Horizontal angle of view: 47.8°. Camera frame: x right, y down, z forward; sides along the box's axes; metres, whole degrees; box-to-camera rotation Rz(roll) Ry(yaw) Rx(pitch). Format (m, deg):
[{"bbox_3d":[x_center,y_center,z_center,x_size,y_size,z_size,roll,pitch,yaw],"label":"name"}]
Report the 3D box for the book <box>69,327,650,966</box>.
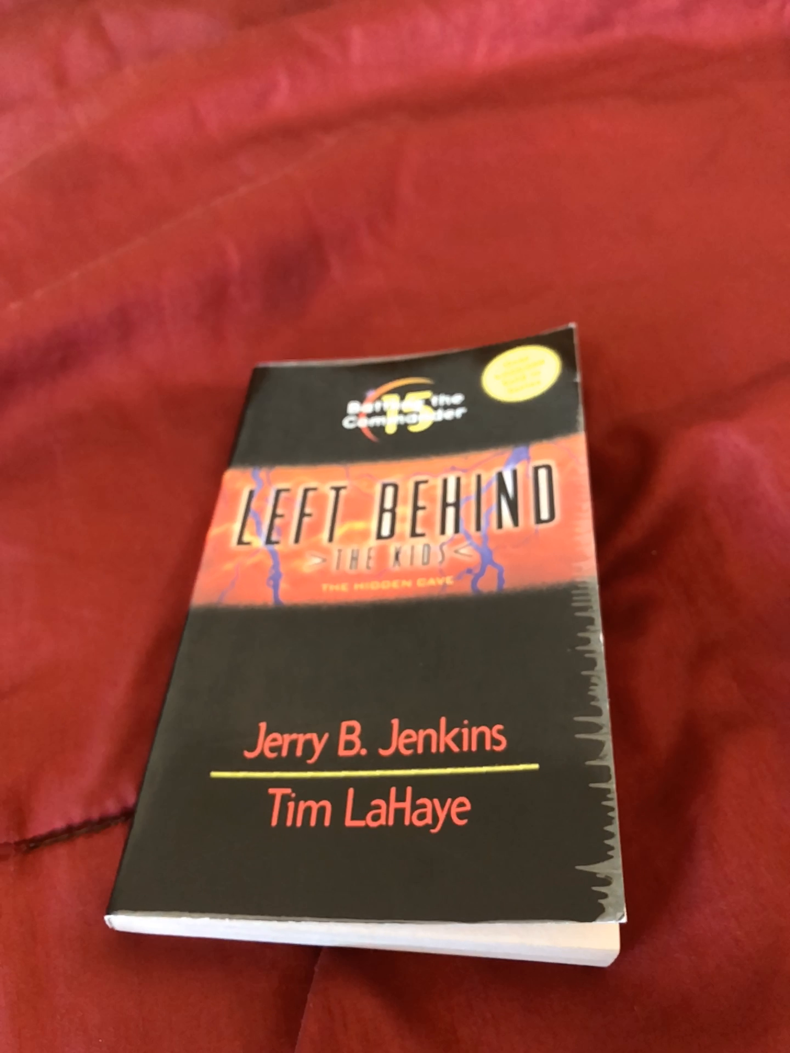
[{"bbox_3d":[-0.001,0.015,0.230,0.110,0.026,0.171,-1,50,9],"label":"book"}]
